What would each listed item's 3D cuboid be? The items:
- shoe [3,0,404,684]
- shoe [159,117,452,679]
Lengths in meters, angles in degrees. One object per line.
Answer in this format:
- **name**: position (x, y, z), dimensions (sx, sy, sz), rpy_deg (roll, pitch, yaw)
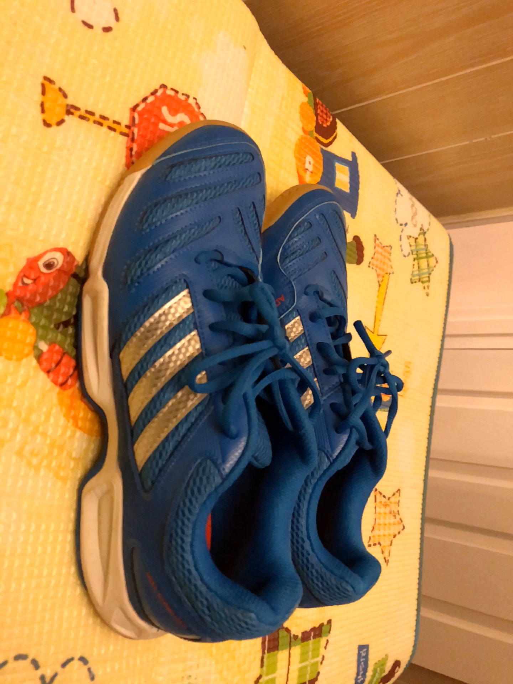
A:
- **shoe**: position (-0.022, 0.004, 0.299), dimensions (0.110, 0.139, 0.290), rpy_deg (16, 78, -49)
- **shoe**: position (0.038, 0.028, 0.369), dimensions (0.110, 0.119, 0.290), rpy_deg (17, 77, -49)
